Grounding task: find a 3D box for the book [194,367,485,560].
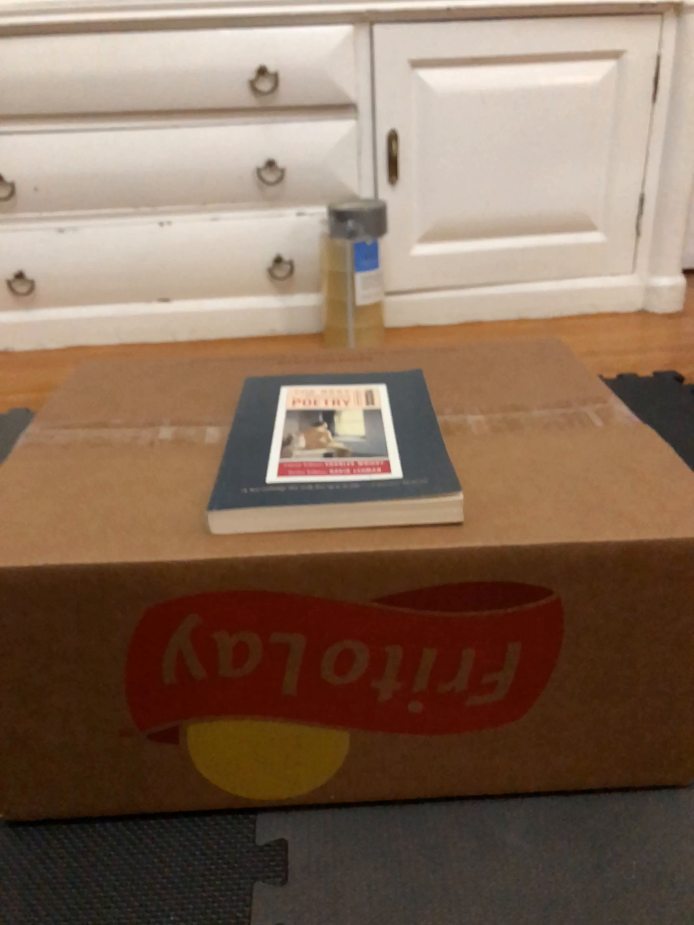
[{"bbox_3d":[-0.008,-0.012,0.506,0.150,0.020,0.231,-3,26,-1],"label":"book"}]
